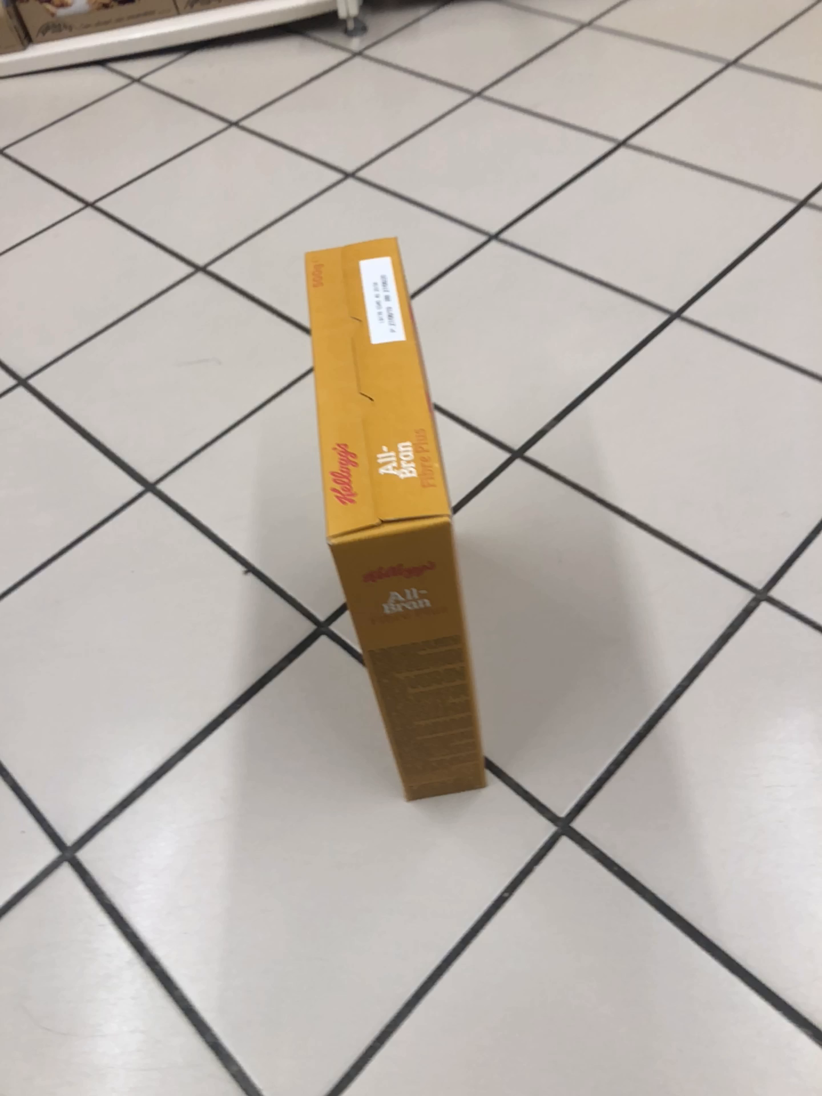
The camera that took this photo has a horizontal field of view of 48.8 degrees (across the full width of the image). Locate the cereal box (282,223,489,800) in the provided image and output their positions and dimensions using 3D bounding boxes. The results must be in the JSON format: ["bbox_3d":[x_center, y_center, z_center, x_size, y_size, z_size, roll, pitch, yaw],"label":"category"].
[{"bbox_3d":[-0.010,-0.008,0.480,0.060,0.239,0.191,-9,52,1],"label":"cereal box"}]
